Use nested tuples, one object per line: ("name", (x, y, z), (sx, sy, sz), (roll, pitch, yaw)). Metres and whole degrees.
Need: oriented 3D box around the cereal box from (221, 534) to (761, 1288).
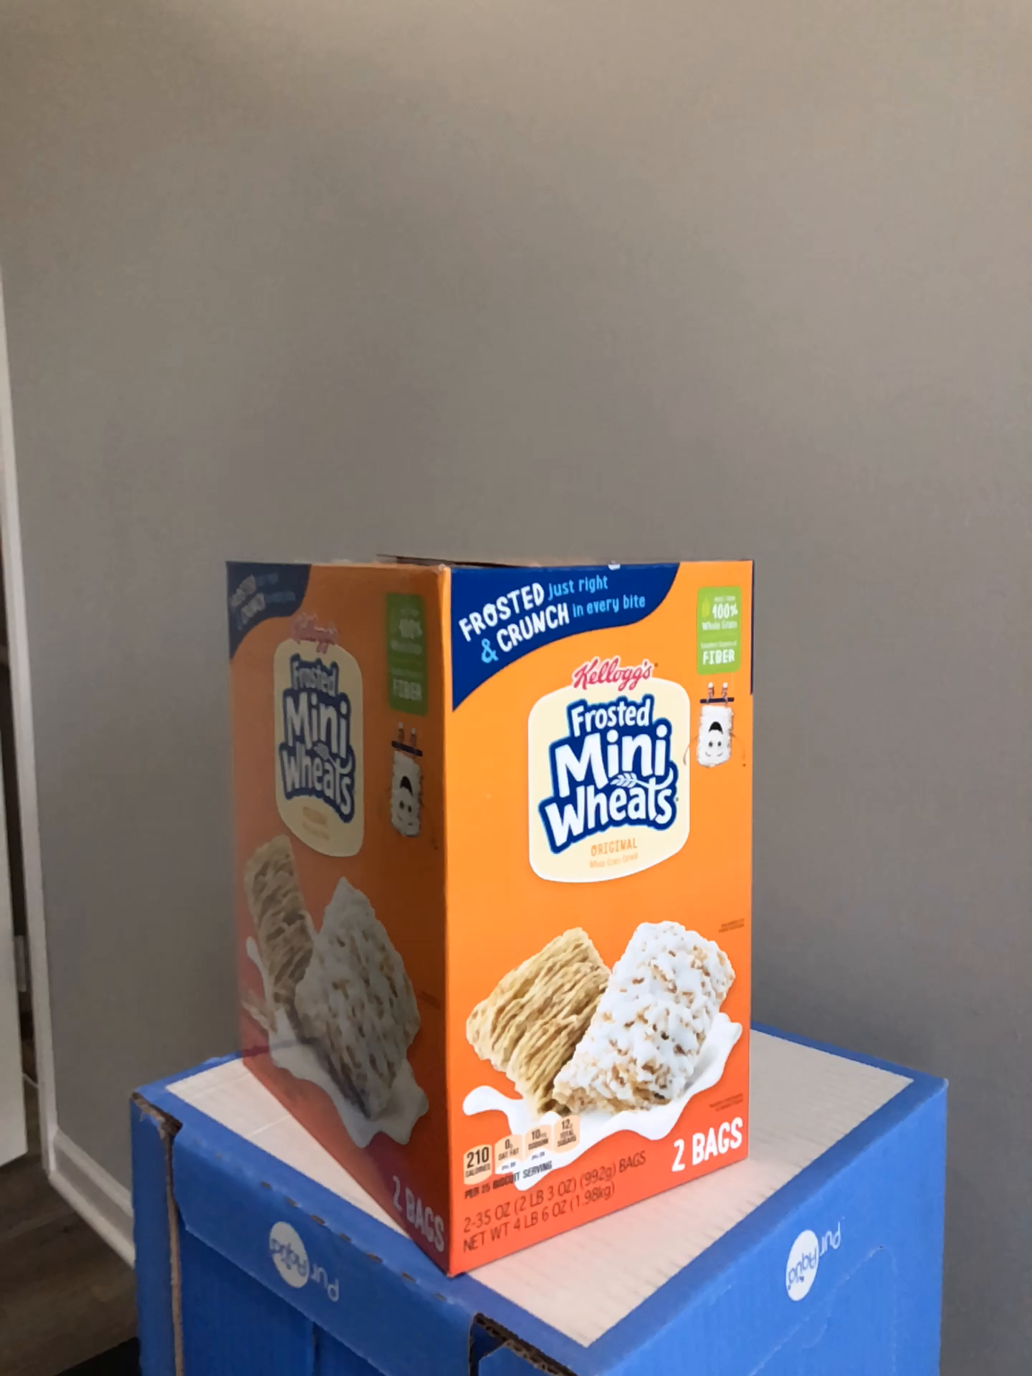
("cereal box", (-0.025, 0.071, 0.572), (0.160, 0.290, 0.250), (-5, 8, -32))
